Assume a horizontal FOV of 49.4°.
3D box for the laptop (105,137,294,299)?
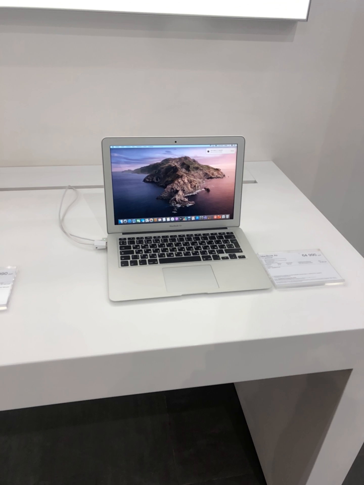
[{"bbox_3d":[0.009,-0.069,0.817,0.315,0.207,0.271,-4,34,-10],"label":"laptop"}]
